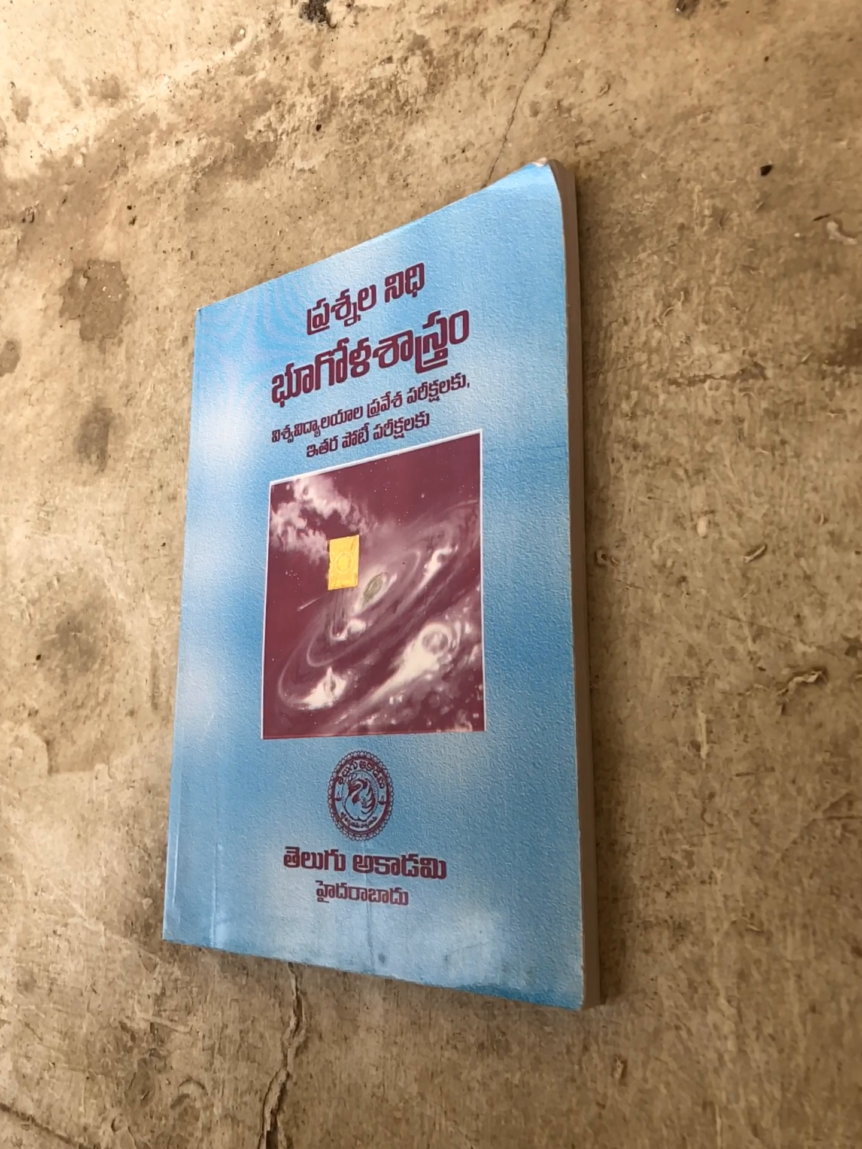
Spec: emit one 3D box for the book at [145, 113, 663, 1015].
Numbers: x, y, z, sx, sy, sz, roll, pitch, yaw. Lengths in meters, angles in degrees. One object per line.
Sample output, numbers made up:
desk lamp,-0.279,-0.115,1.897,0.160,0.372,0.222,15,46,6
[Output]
book,-0.021,-0.001,0.350,0.191,0.040,0.270,-9,76,35
